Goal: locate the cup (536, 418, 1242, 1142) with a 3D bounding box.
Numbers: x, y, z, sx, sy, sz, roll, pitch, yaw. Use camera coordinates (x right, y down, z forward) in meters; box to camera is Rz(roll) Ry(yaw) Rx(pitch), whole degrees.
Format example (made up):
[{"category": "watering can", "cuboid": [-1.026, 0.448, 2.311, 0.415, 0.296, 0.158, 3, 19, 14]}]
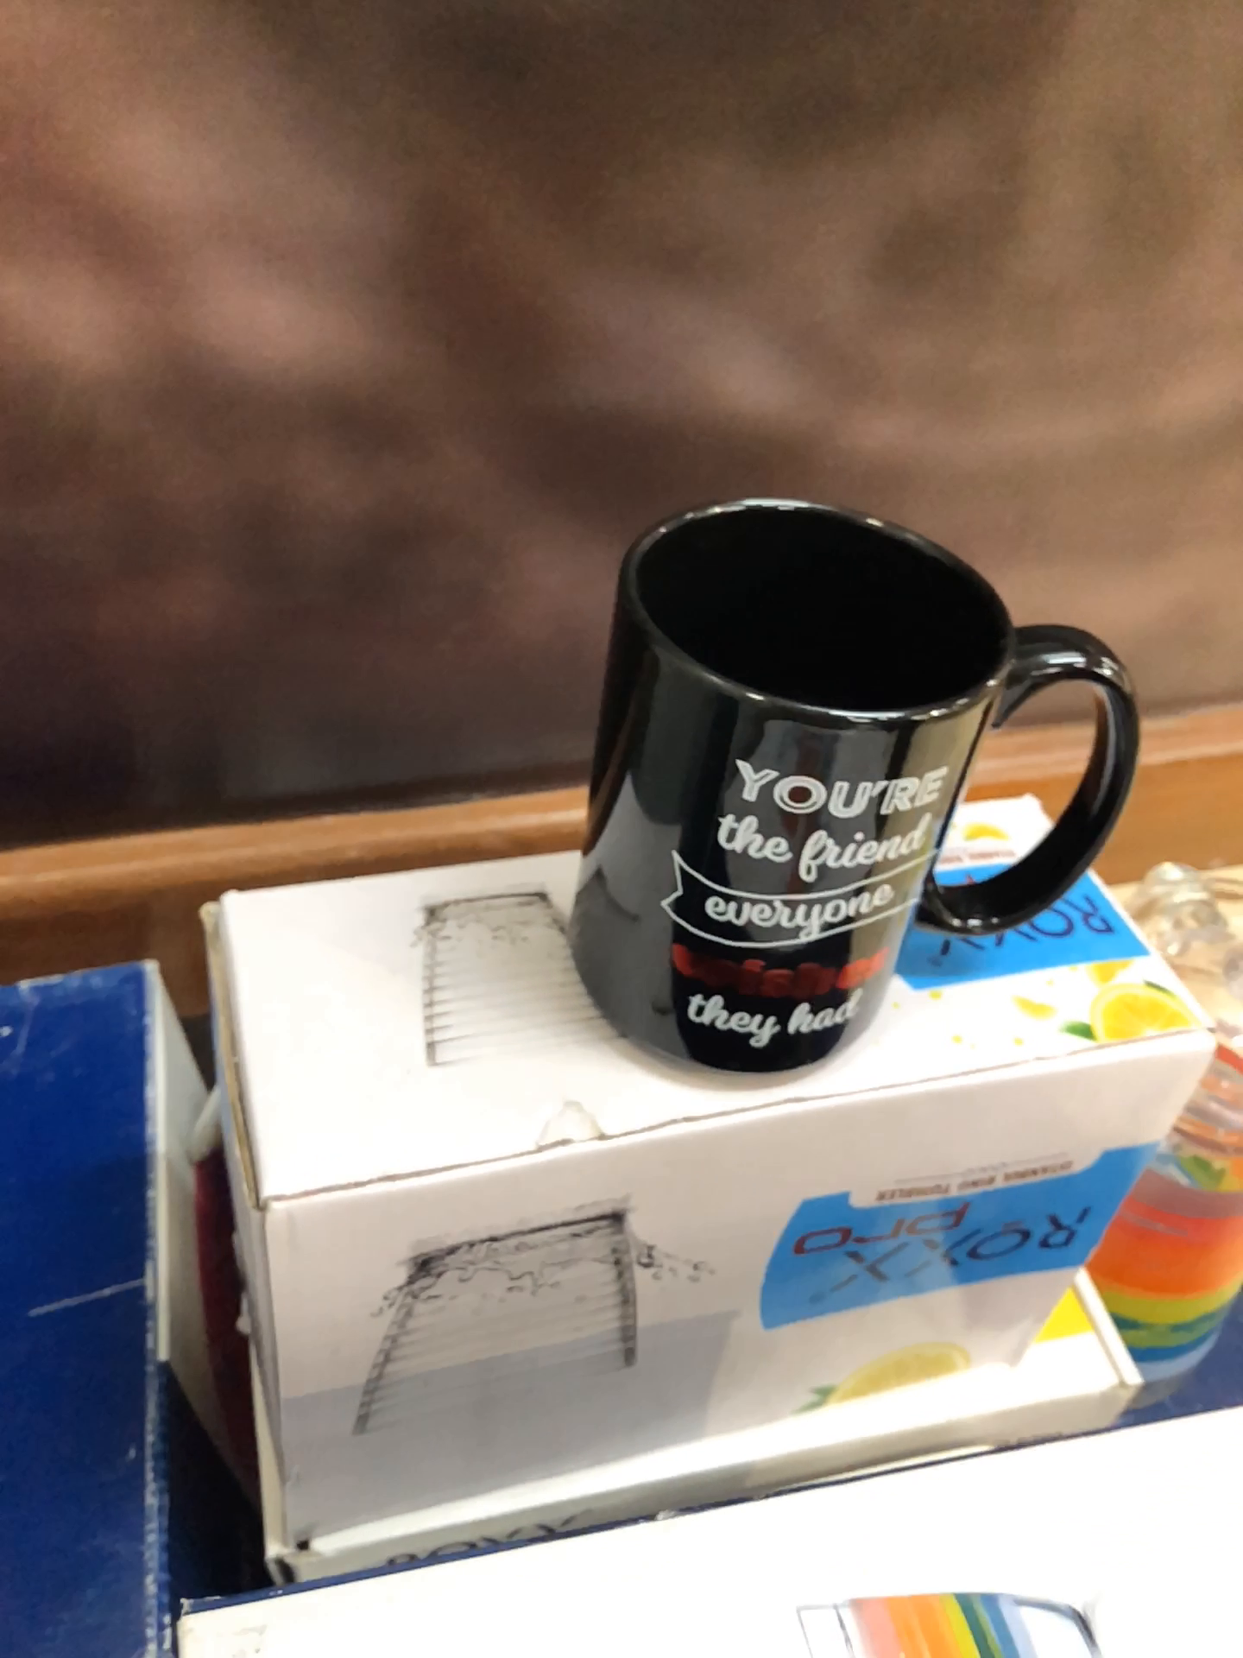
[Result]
[{"category": "cup", "cuboid": [0.055, -0.013, 0.296, 0.130, 0.109, 0.090, -6, 41, -12]}]
